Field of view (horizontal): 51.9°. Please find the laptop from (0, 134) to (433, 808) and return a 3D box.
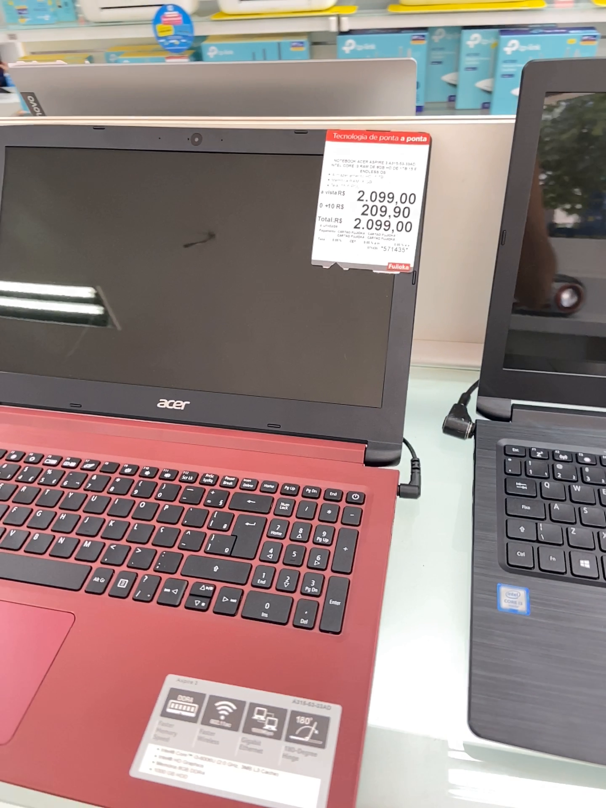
[{"bbox_3d":[-0.130,-0.016,0.430,0.391,0.193,0.432,5,41,12],"label":"laptop"}]
